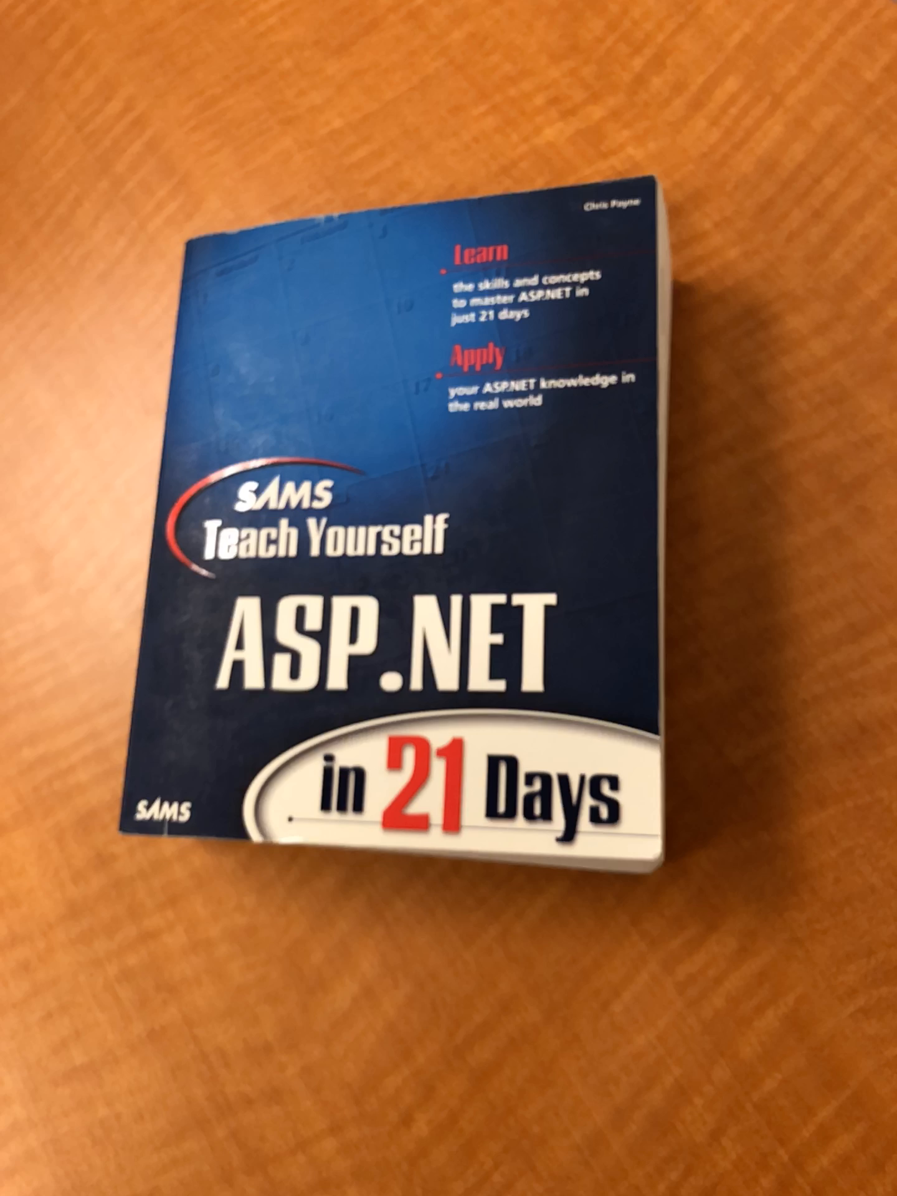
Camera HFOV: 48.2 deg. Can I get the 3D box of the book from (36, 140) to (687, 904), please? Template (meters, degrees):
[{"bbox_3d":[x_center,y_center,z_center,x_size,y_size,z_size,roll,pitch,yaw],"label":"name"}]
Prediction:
[{"bbox_3d":[-0.021,-0.028,0.362,0.200,0.070,0.240,2,78,15],"label":"book"}]
